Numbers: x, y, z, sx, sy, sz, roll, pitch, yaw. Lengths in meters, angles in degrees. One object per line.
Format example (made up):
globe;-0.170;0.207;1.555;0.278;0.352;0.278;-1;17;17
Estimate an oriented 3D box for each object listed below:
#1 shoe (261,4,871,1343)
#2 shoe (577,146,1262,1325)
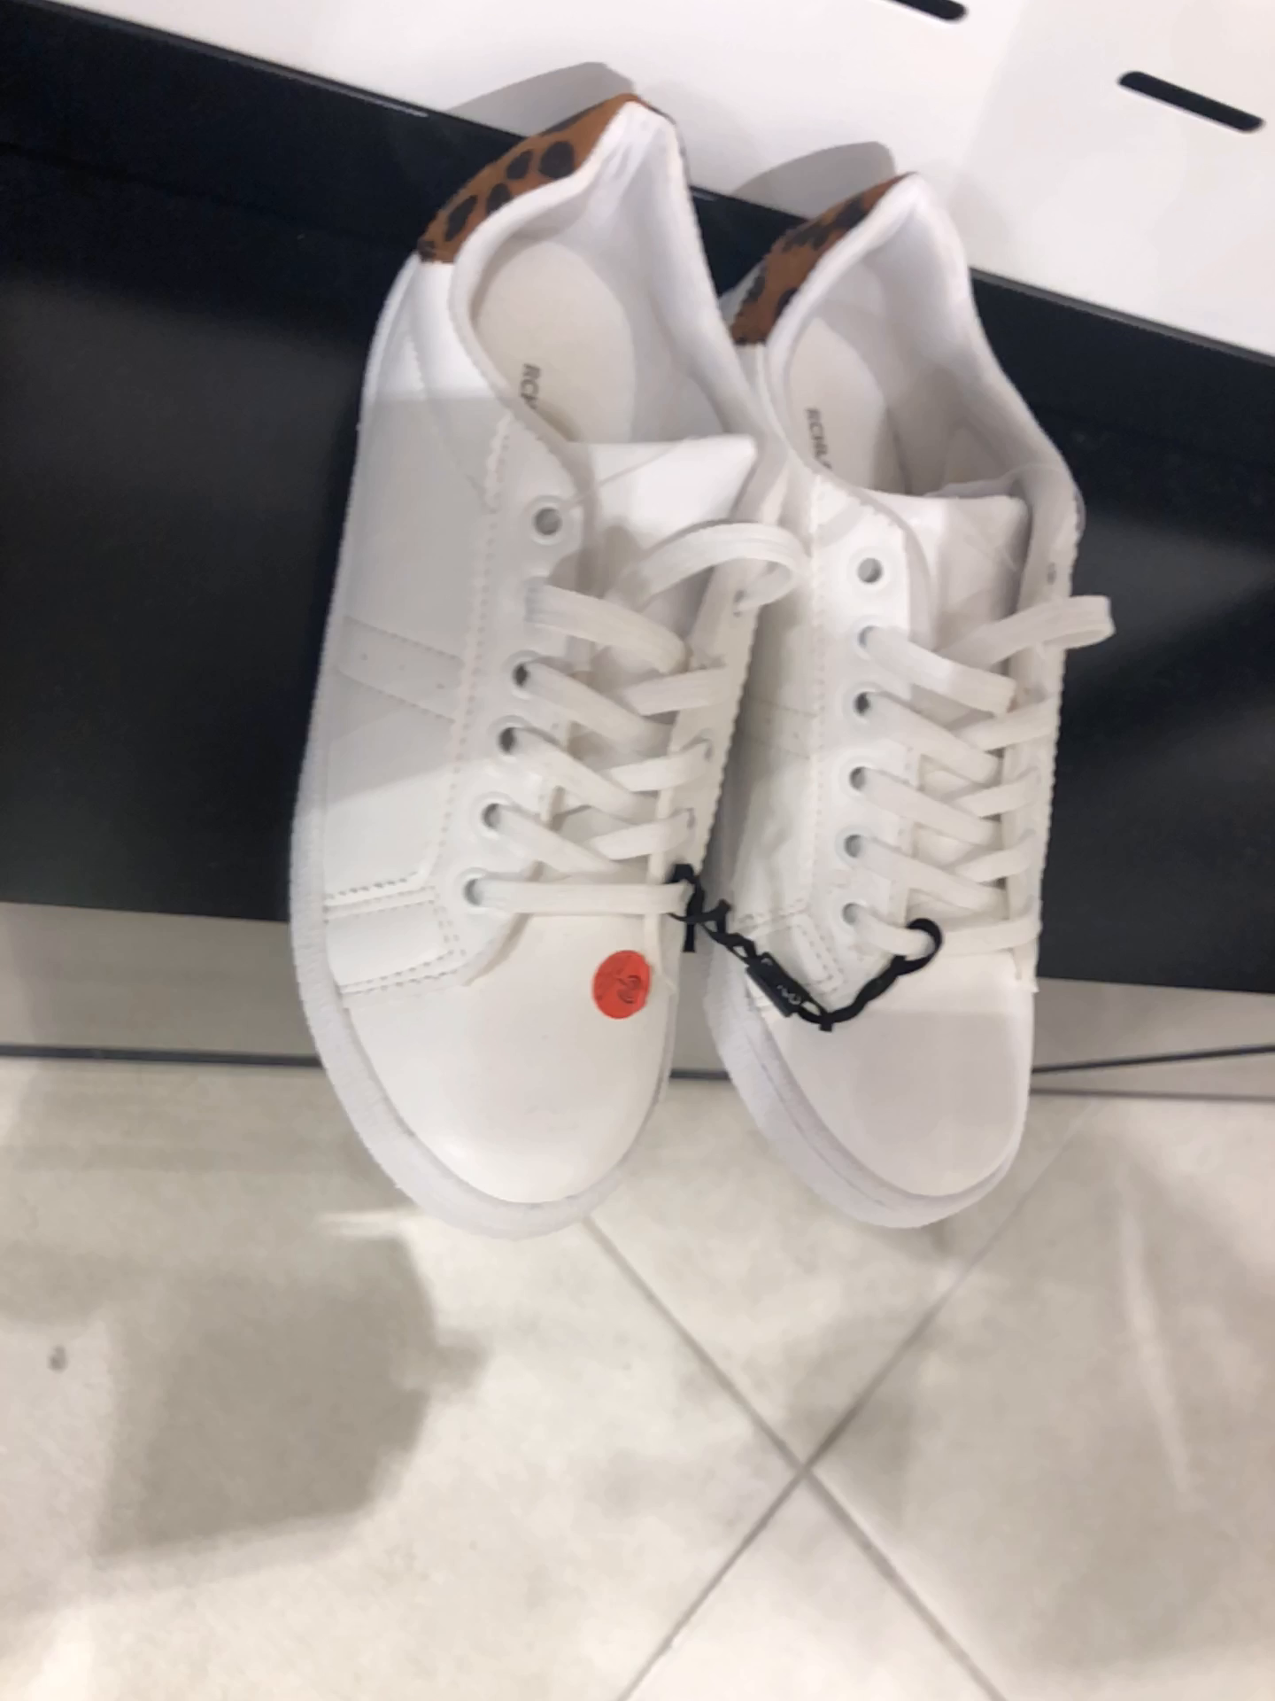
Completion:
shoe;-0.021;-0.027;0.291;0.090;0.100;0.220;3;81;-22
shoe;0.055;-0.021;0.325;0.090;0.100;0.220;-3;84;-23
